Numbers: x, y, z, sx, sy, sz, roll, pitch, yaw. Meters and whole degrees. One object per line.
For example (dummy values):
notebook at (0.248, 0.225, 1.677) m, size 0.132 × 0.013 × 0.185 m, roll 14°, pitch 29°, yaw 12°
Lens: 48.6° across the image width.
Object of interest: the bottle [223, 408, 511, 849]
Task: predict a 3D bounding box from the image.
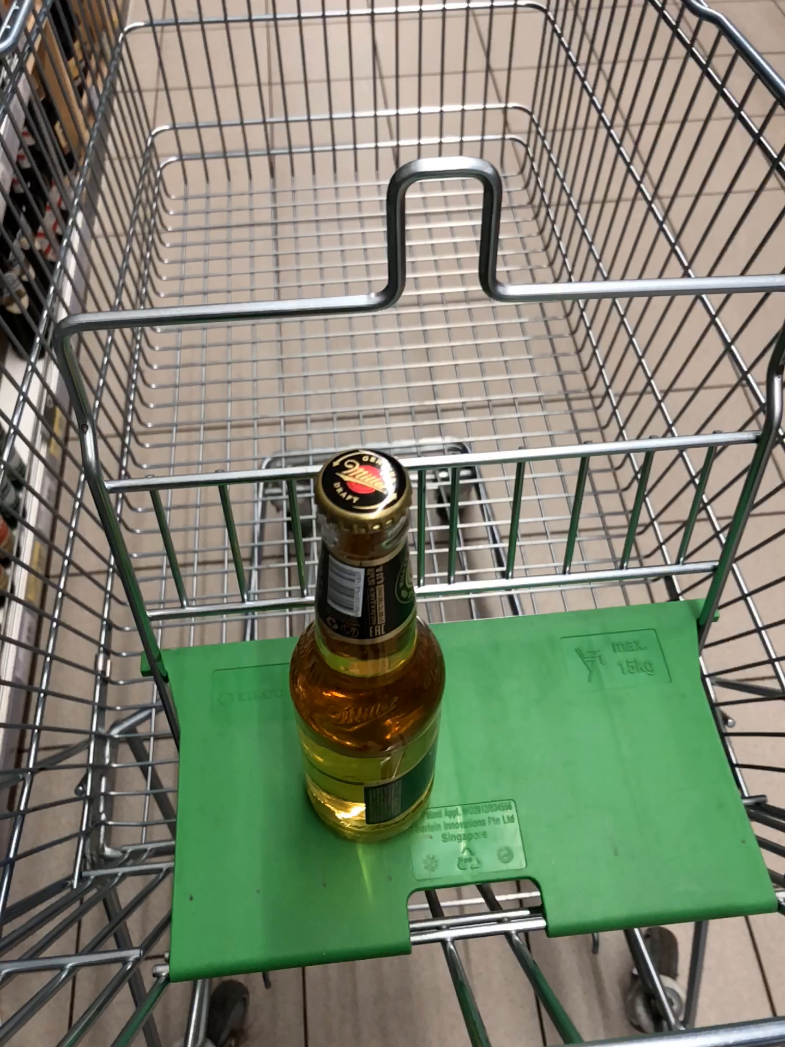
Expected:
bottle at (-0.007, 0.055, 0.317) m, size 0.070 × 0.209 × 0.070 m, roll 0°, pitch 56°, yaw 0°
